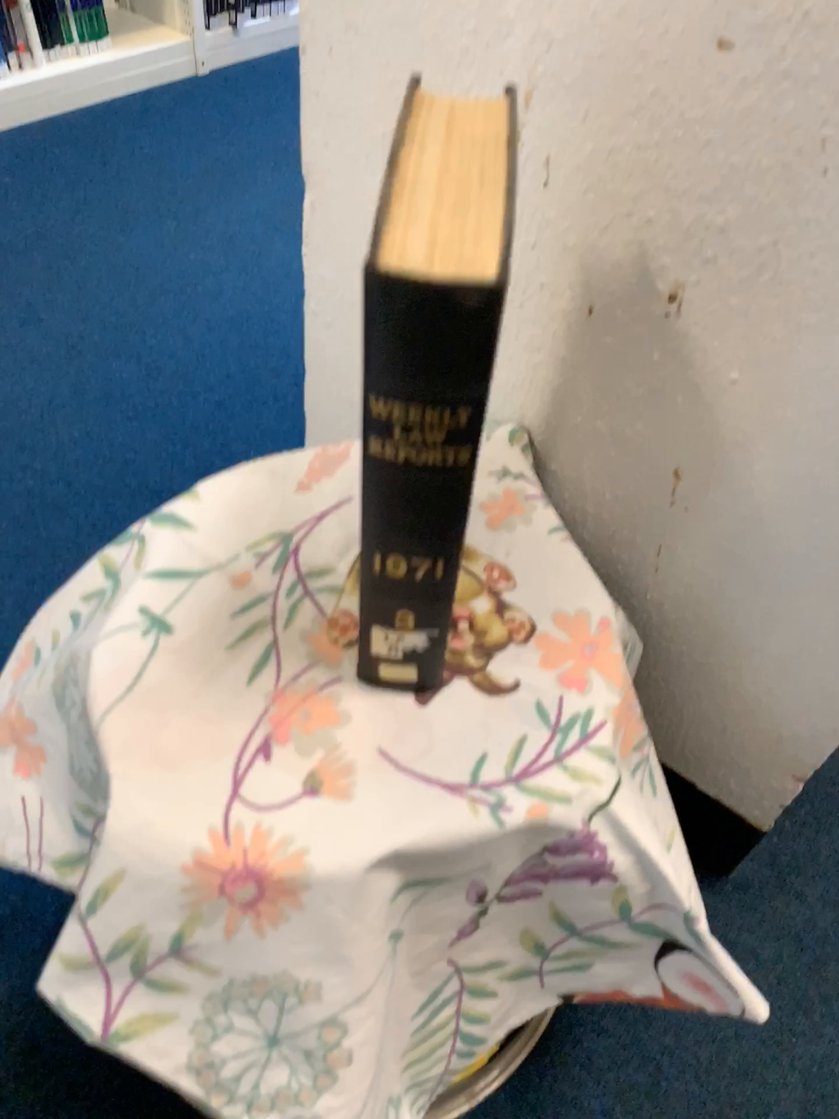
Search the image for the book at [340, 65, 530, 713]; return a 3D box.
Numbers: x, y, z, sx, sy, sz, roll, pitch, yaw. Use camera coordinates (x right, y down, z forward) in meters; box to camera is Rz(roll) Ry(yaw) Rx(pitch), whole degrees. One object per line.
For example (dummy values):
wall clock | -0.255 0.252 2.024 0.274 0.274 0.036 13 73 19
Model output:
book | 0.002 -0.066 0.396 0.052 0.244 0.163 7 48 -1
